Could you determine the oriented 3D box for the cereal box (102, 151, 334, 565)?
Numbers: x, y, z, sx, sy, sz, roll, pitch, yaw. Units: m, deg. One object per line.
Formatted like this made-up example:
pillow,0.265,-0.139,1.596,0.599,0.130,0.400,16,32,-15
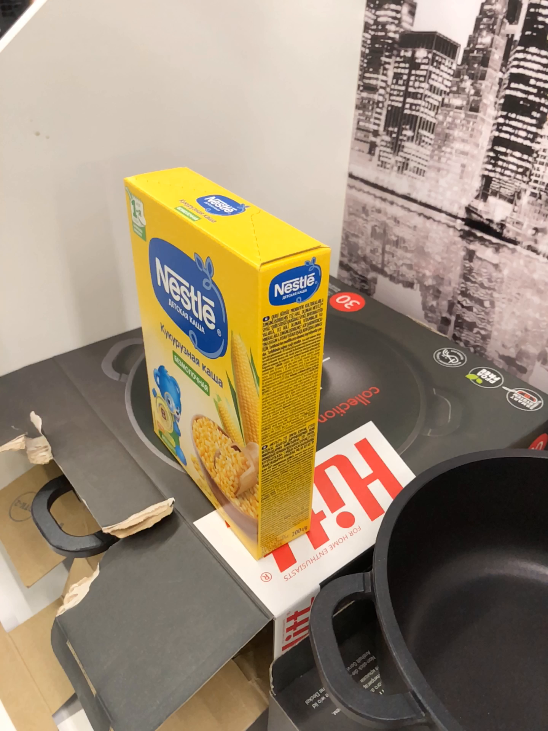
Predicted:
cereal box,-0.039,-0.007,0.367,0.050,0.199,0.151,-20,39,-29
